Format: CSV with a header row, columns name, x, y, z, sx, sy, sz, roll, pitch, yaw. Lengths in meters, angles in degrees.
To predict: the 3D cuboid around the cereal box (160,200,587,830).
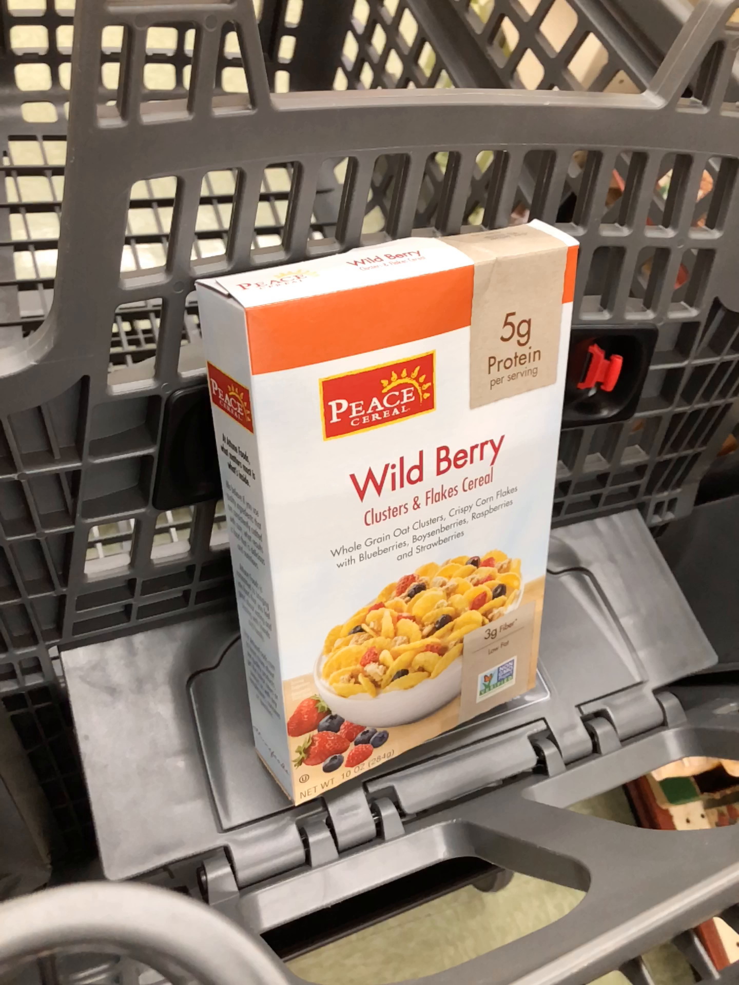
name,x,y,z,sx,sy,sz,roll,pitch,yaw
cereal box,0.011,0.013,0.385,0.160,0.260,0.060,-18,32,-26
